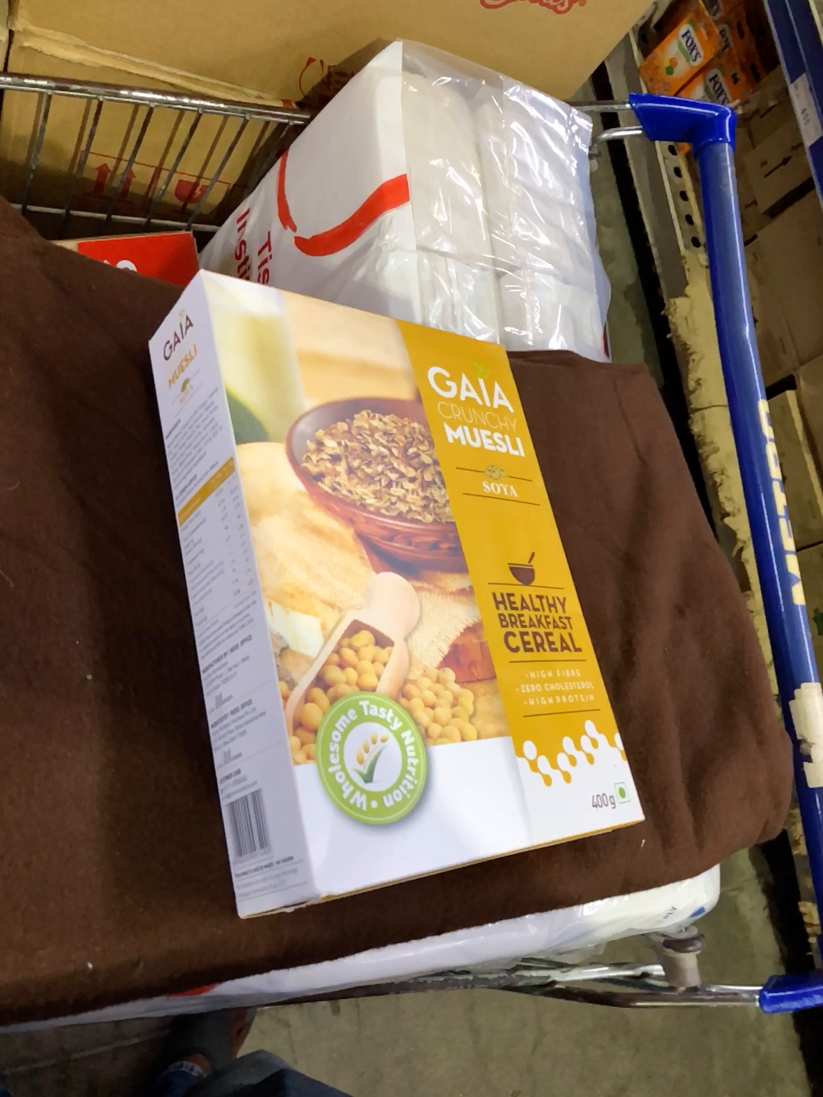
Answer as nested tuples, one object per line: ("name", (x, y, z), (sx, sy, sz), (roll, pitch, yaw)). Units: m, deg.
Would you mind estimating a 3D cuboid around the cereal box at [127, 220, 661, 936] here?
("cereal box", (-0.008, 0.007, 0.367), (0.170, 0.060, 0.240), (3, 67, -39))
